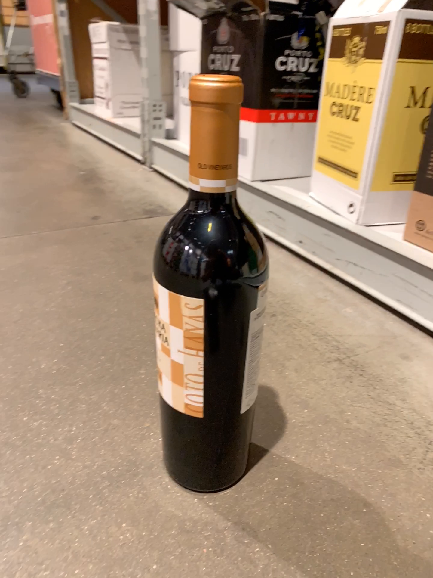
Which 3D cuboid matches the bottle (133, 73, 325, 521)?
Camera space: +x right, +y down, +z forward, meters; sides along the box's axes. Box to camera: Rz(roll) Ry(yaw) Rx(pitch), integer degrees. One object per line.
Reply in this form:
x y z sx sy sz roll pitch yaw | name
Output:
-0.001 0.019 0.330 0.080 0.317 0.080 2 28 -1 | bottle
